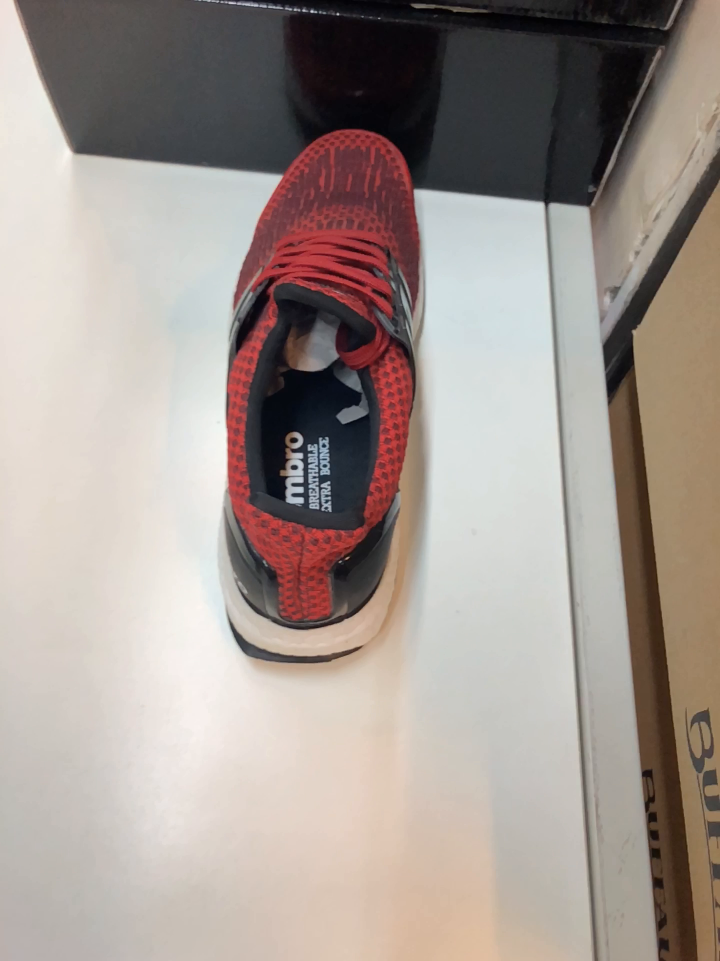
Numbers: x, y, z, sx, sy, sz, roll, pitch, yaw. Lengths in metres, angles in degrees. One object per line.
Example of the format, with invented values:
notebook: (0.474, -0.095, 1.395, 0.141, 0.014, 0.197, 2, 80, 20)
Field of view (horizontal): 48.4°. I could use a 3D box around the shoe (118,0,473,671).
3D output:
shoe: (-0.016, -0.072, 0.356, 0.111, 0.108, 0.287, 3, 67, -2)
